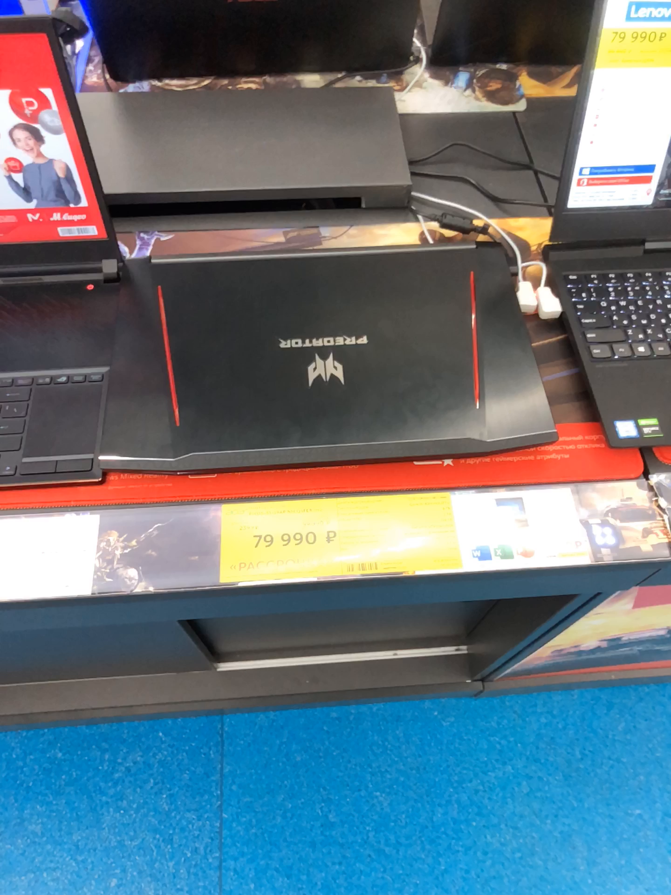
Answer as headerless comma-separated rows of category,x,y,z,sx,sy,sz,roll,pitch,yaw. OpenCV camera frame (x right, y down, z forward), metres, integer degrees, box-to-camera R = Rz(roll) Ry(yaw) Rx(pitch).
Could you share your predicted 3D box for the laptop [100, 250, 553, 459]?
laptop,-0.013,-0.096,0.680,0.377,0.004,0.228,-3,56,-3
